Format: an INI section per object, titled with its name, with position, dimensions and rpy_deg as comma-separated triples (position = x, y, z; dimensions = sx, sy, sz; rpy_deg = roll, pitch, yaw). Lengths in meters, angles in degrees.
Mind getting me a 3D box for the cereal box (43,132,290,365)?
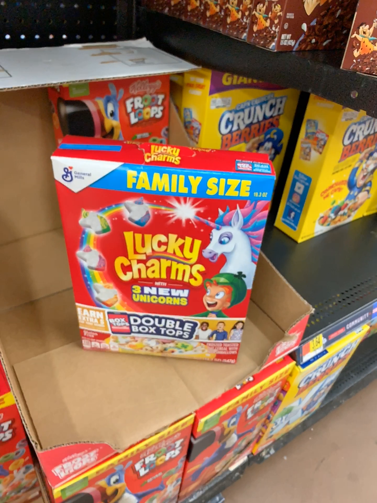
[cereal box]
position = -0.027, 0.016, 0.476
dimensions = 0.230, 0.288, 0.060
rpy_deg = 4, 38, 0
